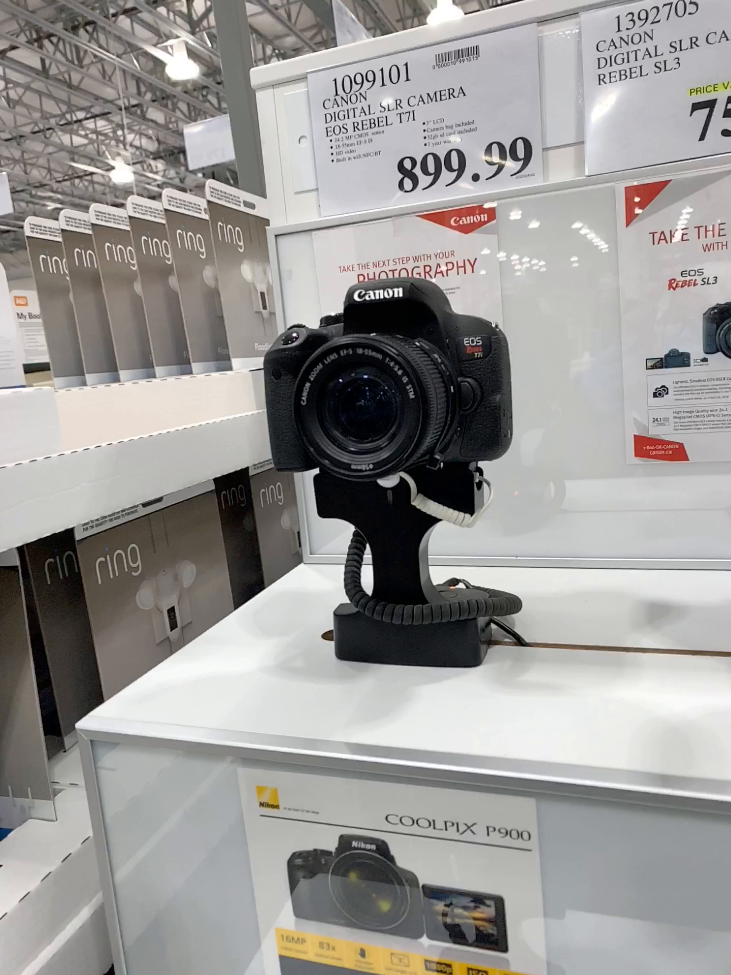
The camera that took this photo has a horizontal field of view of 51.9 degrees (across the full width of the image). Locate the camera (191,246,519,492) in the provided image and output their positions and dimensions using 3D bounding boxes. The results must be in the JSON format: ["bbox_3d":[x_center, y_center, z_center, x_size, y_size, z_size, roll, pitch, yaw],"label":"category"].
[{"bbox_3d":[0.005,-0.060,0.395,0.132,0.096,0.130,-3,10,17],"label":"camera"}]
